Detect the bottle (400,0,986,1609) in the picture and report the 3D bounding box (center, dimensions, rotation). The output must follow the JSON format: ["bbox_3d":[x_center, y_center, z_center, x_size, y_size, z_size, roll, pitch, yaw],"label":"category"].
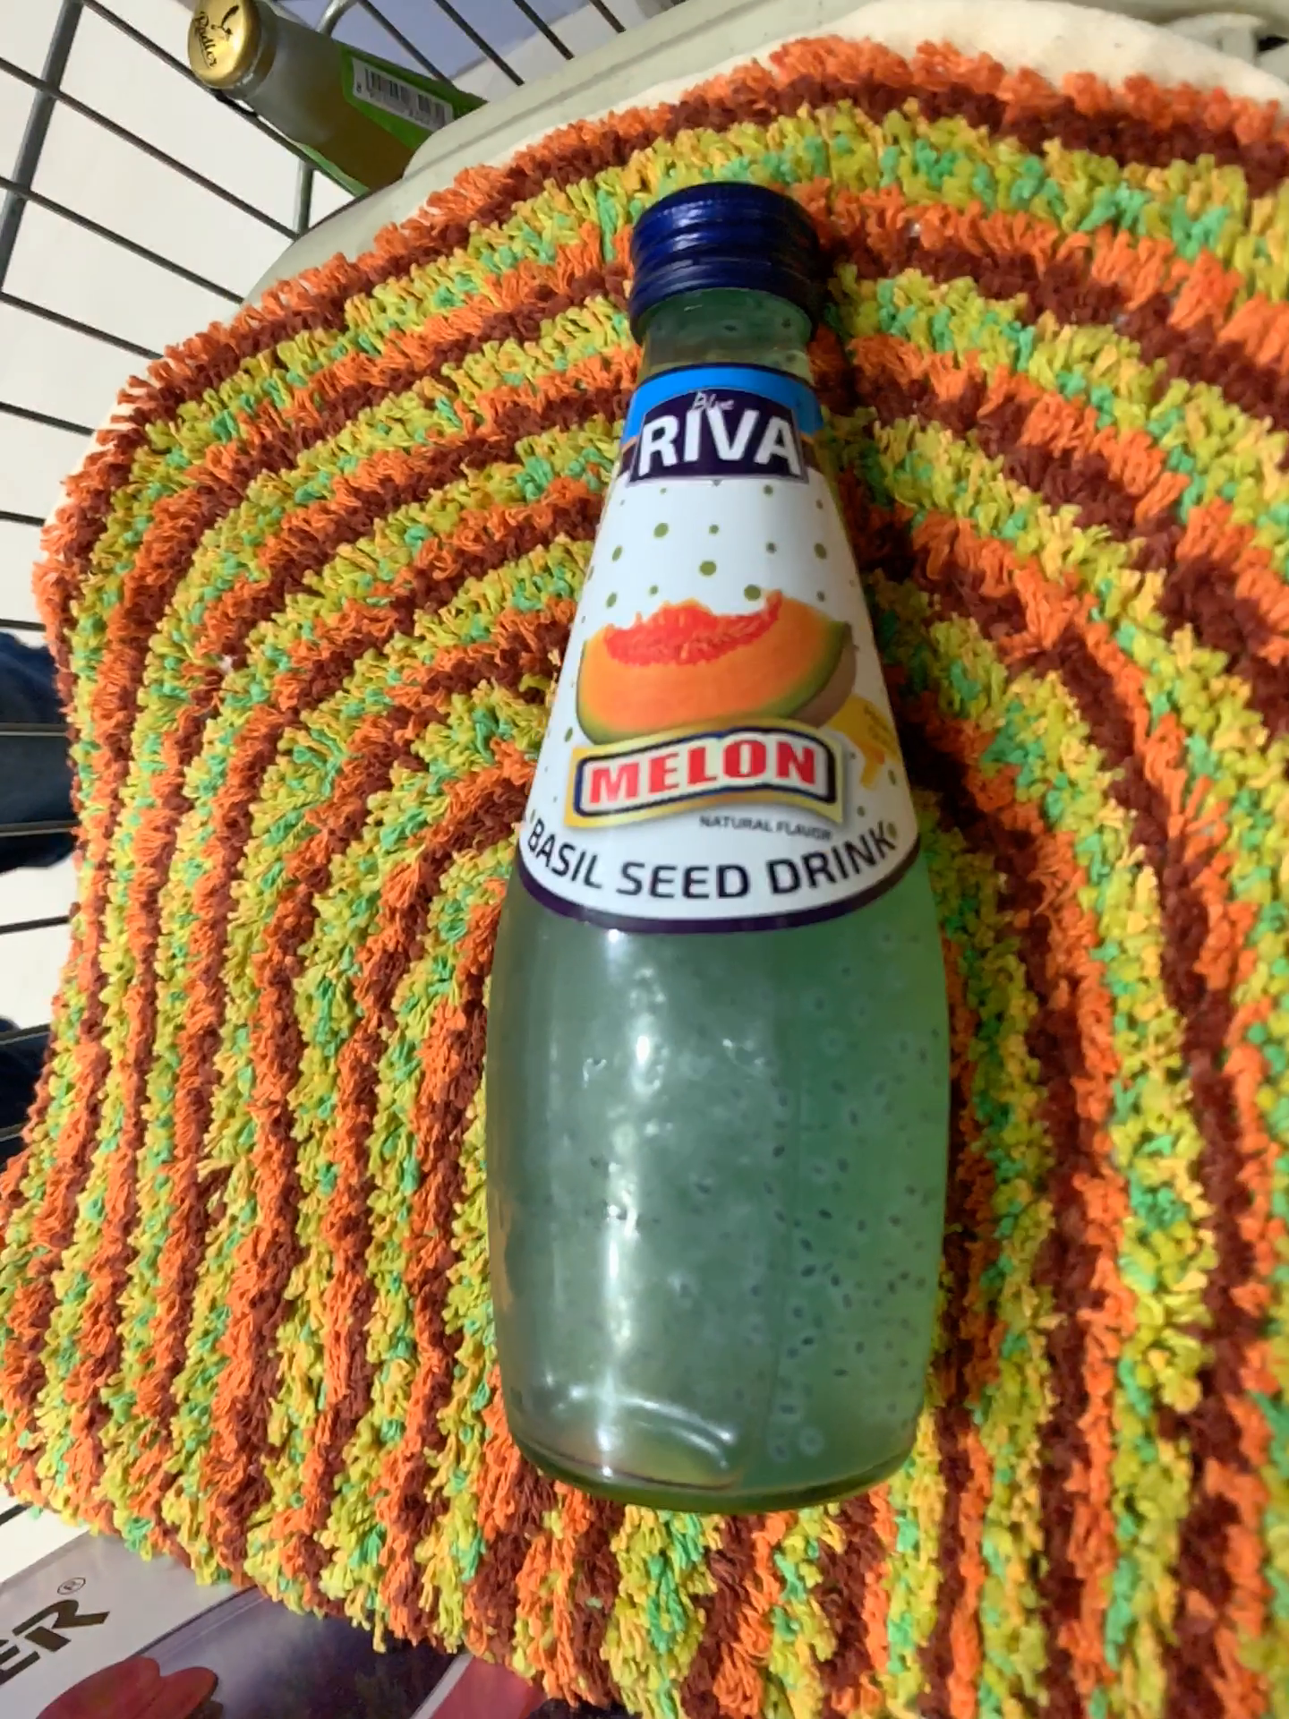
[{"bbox_3d":[0.013,-0.009,0.184,0.060,0.060,0.180,2,84,14],"label":"bottle"}]
